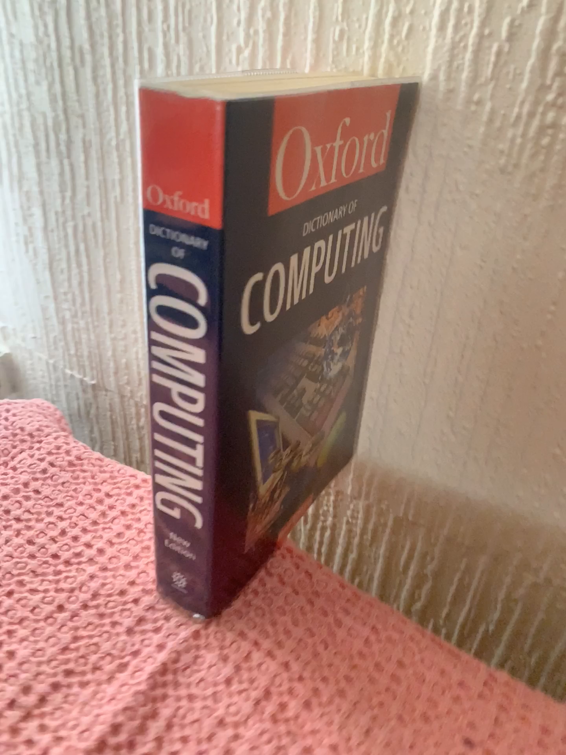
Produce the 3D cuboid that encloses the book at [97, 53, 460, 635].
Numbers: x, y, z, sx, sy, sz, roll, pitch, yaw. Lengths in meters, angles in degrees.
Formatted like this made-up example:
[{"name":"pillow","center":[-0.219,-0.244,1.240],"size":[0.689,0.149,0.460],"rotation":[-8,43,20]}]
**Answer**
[{"name":"book","center":[0.007,-0.021,0.237],"size":[0.040,0.188,0.151],"rotation":[21,36,26]}]
